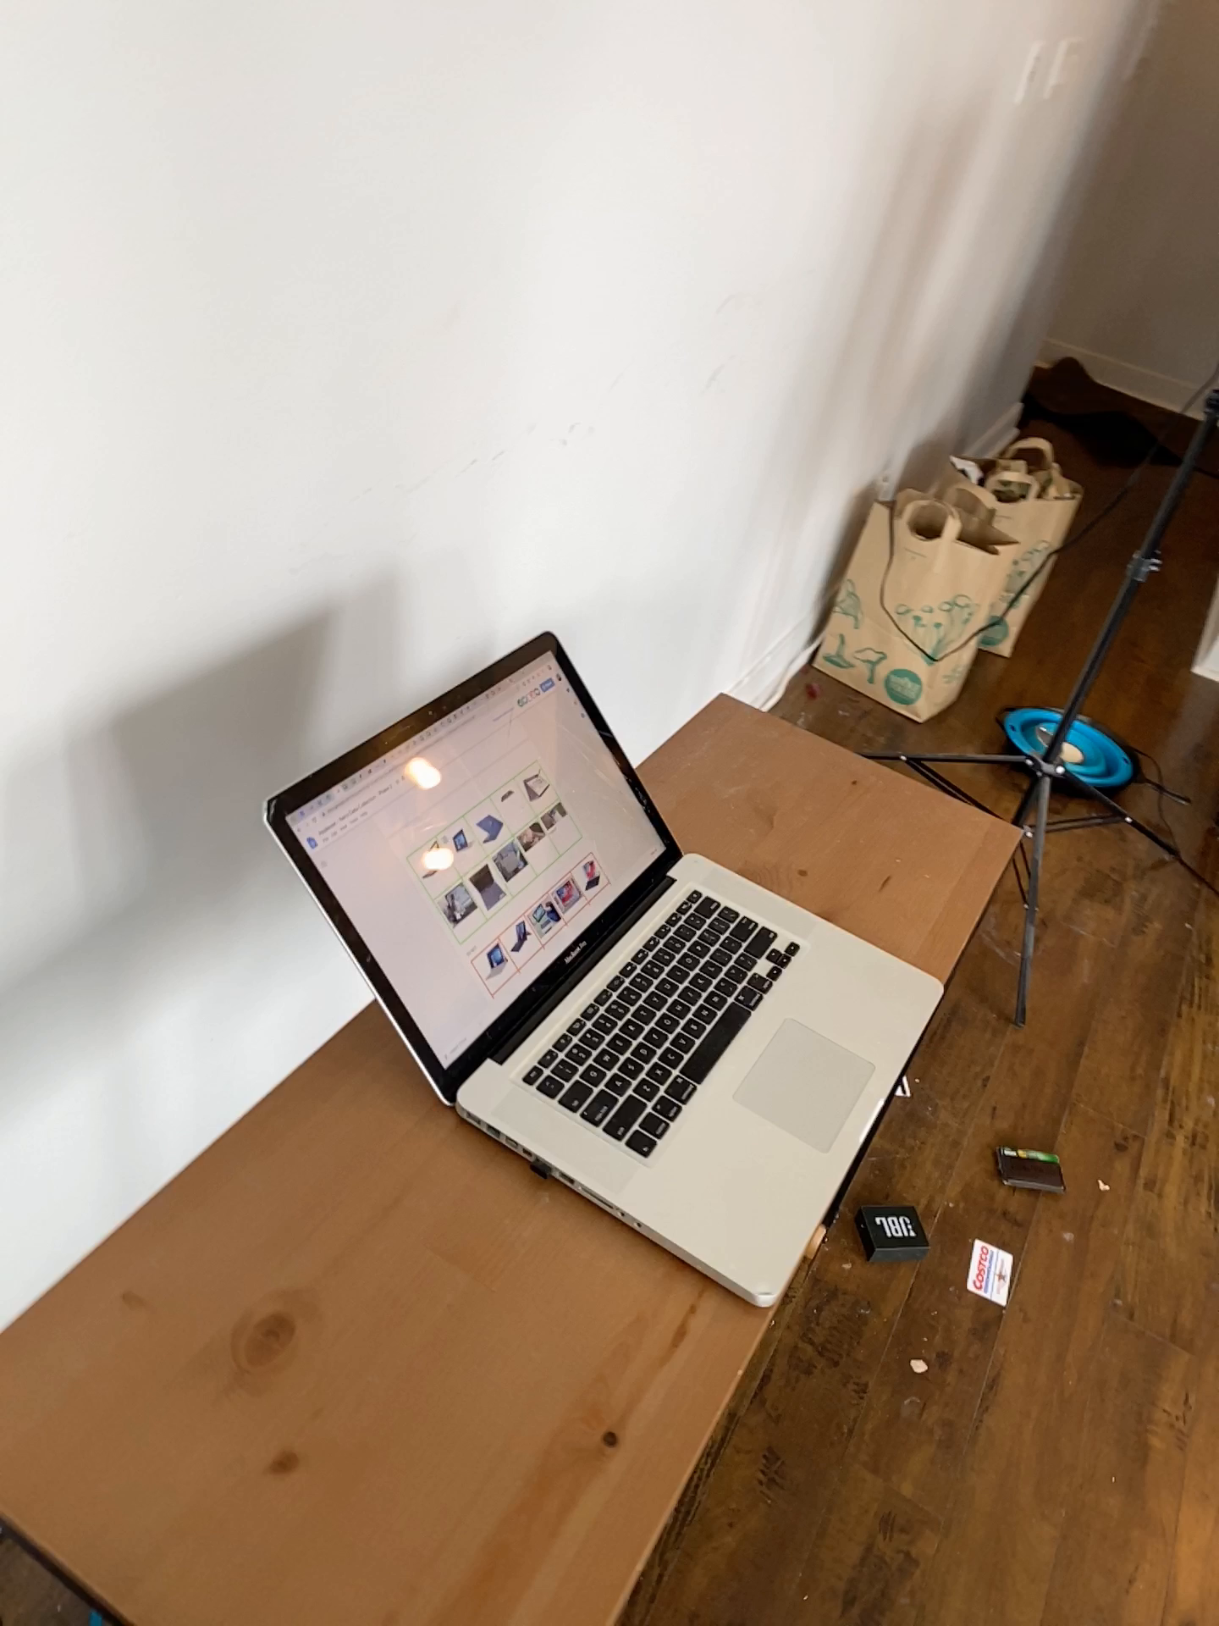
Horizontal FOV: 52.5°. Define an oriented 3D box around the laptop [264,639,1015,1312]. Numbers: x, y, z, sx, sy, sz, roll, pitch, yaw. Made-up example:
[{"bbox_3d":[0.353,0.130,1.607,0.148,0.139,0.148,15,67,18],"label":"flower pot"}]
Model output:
[{"bbox_3d":[0.029,0.081,0.944,0.435,0.155,0.361,27,39,18],"label":"laptop"}]
